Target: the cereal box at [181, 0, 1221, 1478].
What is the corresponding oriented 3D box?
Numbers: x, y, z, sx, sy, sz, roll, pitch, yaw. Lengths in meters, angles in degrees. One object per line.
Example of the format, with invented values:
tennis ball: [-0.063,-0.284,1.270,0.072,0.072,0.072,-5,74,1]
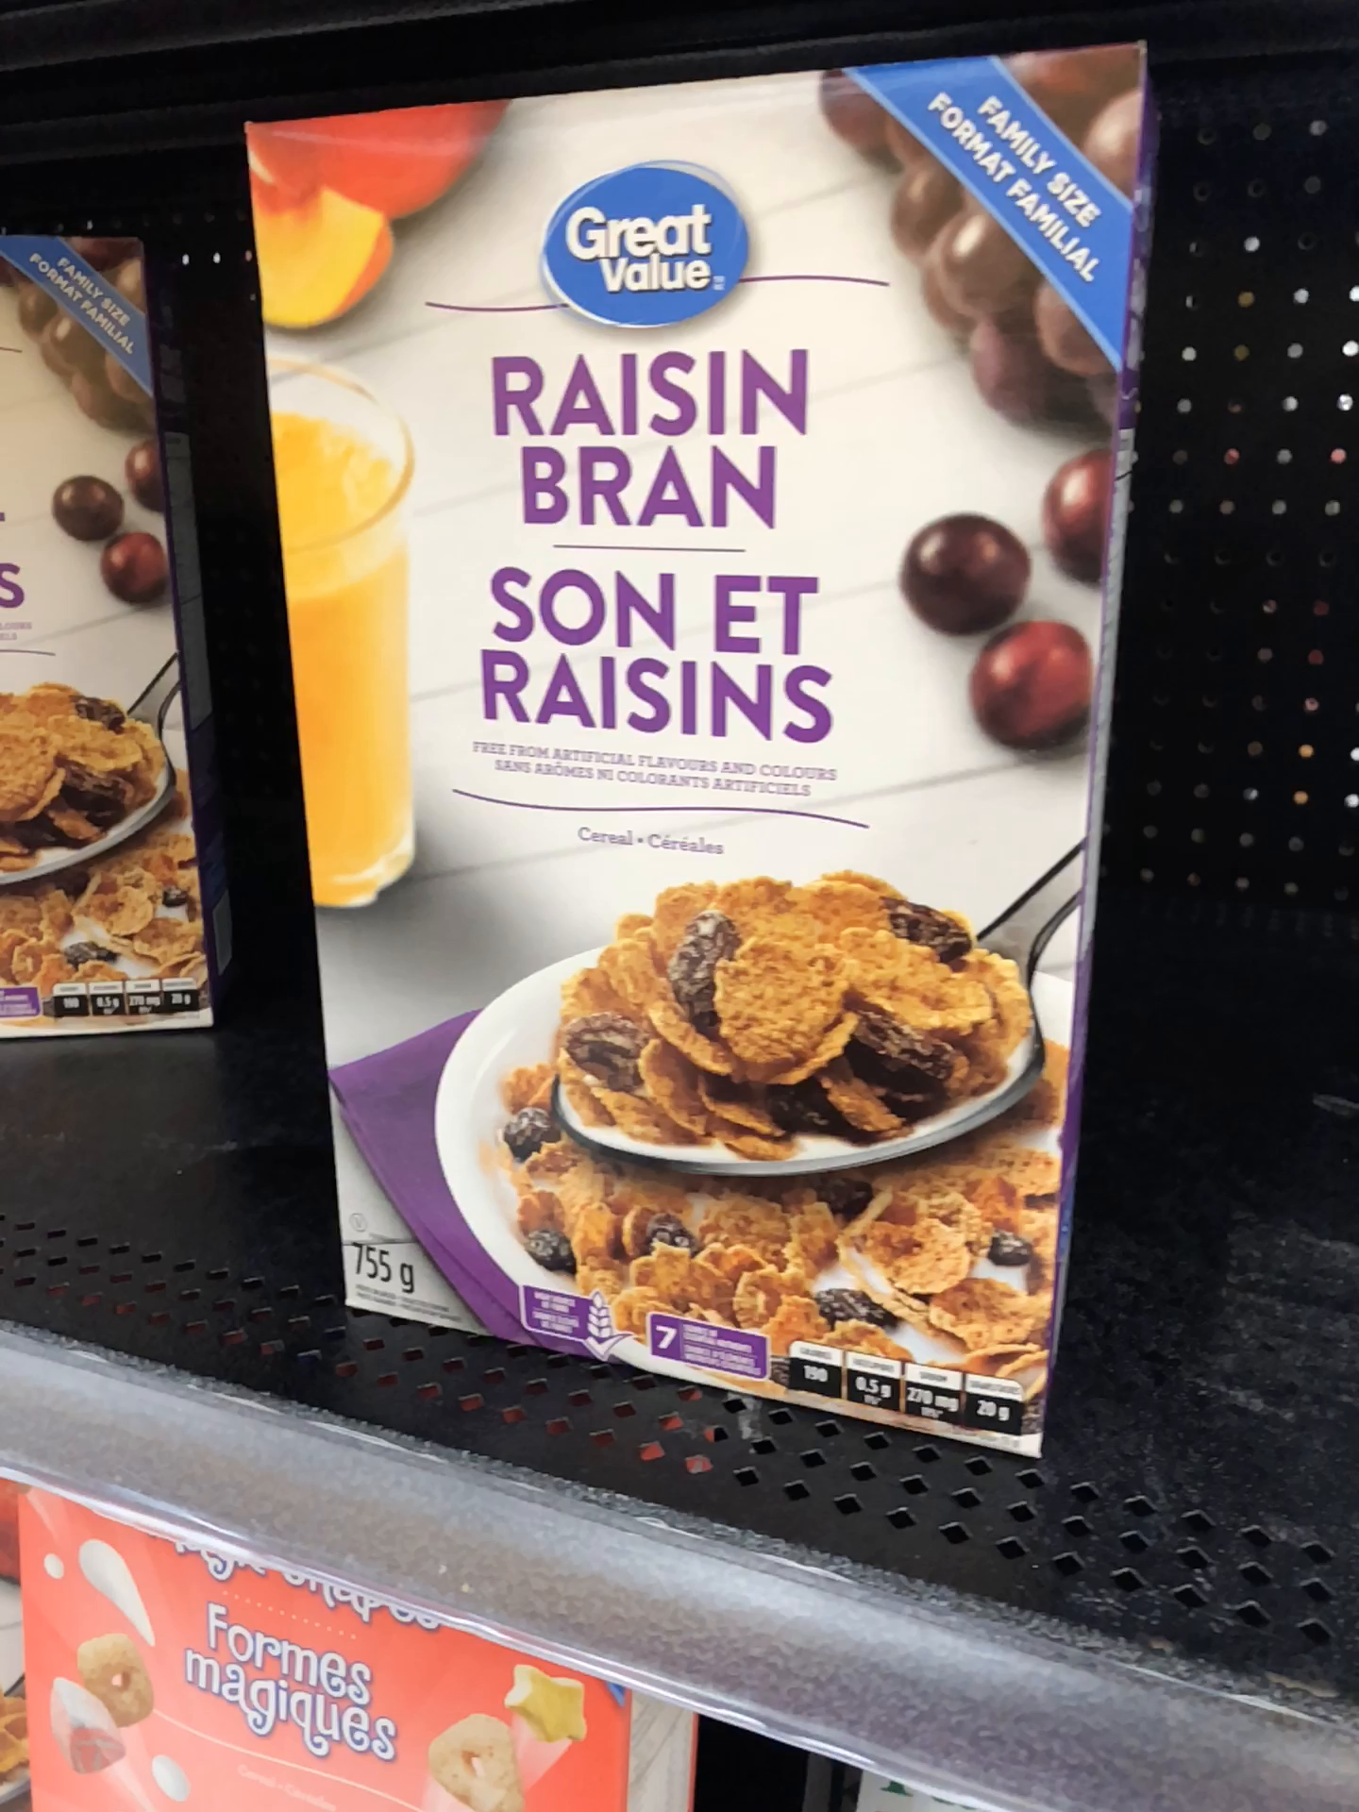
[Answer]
cereal box: [0.004,-0.033,0.366,0.210,0.299,0.070,6,18,19]
